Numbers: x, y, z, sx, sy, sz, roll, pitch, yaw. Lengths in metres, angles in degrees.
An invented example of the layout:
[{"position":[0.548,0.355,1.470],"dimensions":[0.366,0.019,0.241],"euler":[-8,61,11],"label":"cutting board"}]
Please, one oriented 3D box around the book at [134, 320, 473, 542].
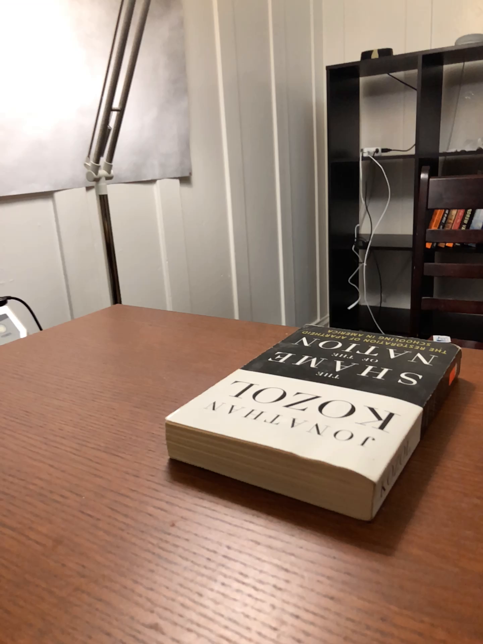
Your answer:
[{"position":[0.062,0.053,0.392],"dimensions":[0.160,0.030,0.231],"euler":[7,20,32],"label":"book"}]
